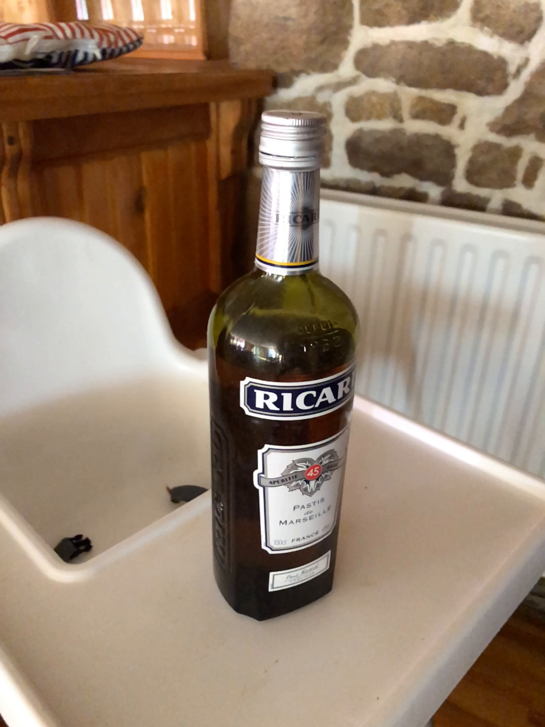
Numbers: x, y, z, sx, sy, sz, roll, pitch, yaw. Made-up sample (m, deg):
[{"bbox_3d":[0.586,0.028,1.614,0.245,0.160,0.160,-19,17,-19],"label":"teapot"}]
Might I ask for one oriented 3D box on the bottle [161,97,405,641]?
[{"bbox_3d":[0.000,0.013,0.347,0.090,0.298,0.070,-12,30,-25],"label":"bottle"}]
